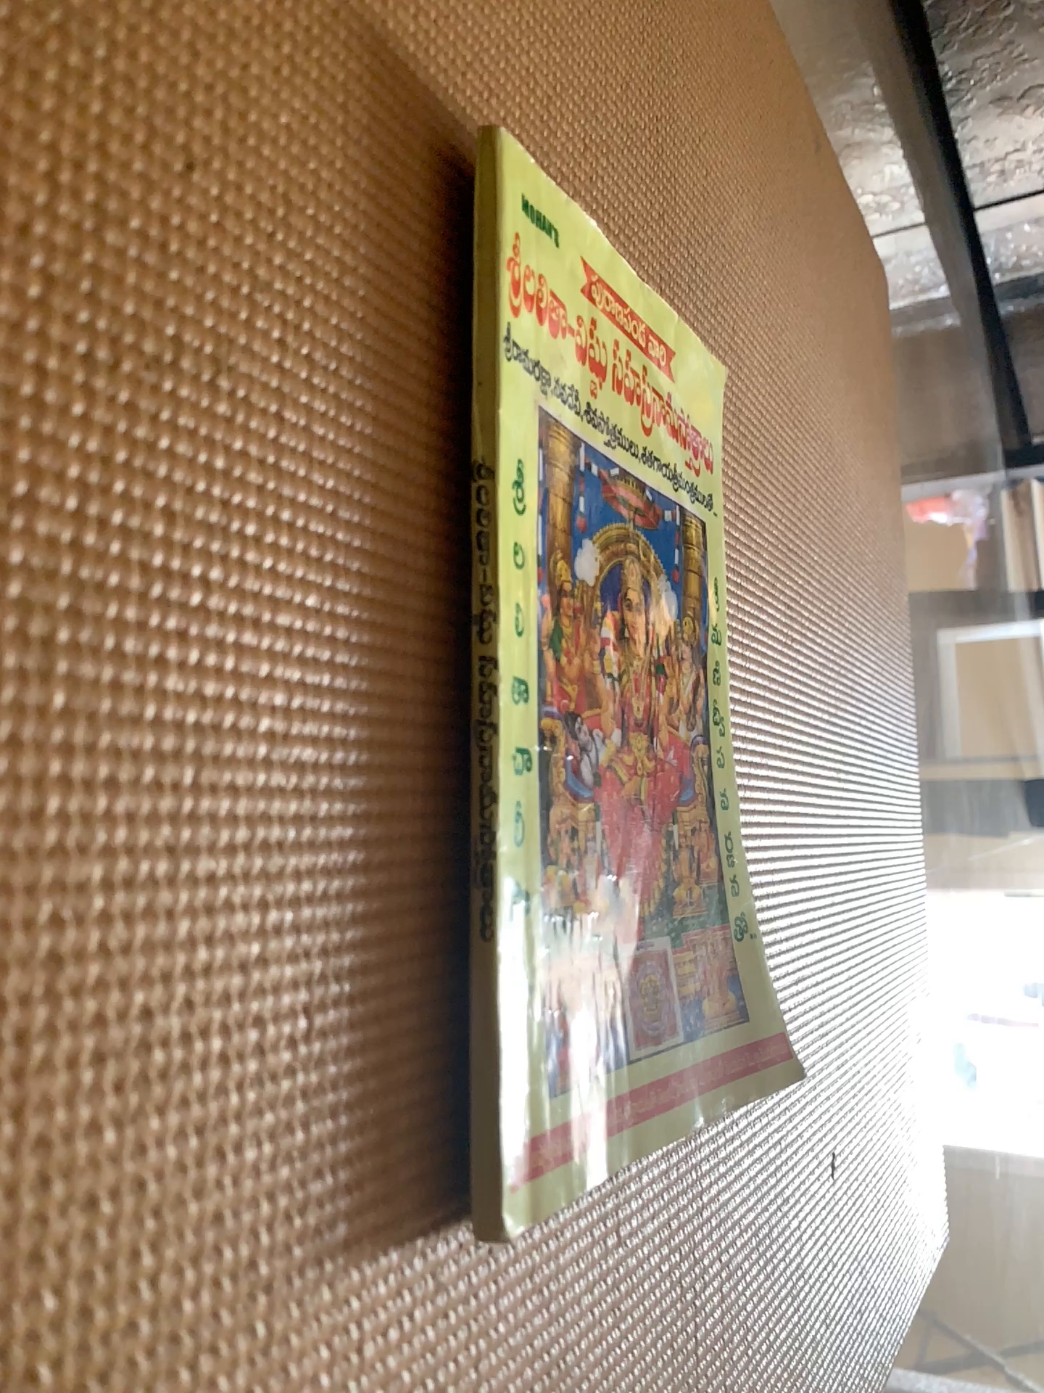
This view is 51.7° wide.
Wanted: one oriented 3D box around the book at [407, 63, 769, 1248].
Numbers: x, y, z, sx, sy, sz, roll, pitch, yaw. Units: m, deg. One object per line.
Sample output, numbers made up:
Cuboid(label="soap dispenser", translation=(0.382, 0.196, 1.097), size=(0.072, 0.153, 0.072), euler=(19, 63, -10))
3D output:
Cuboid(label="book", translation=(0.023, -0.007, 0.254), size=(0.141, 0.020, 0.210), euler=(12, 75, -60))
